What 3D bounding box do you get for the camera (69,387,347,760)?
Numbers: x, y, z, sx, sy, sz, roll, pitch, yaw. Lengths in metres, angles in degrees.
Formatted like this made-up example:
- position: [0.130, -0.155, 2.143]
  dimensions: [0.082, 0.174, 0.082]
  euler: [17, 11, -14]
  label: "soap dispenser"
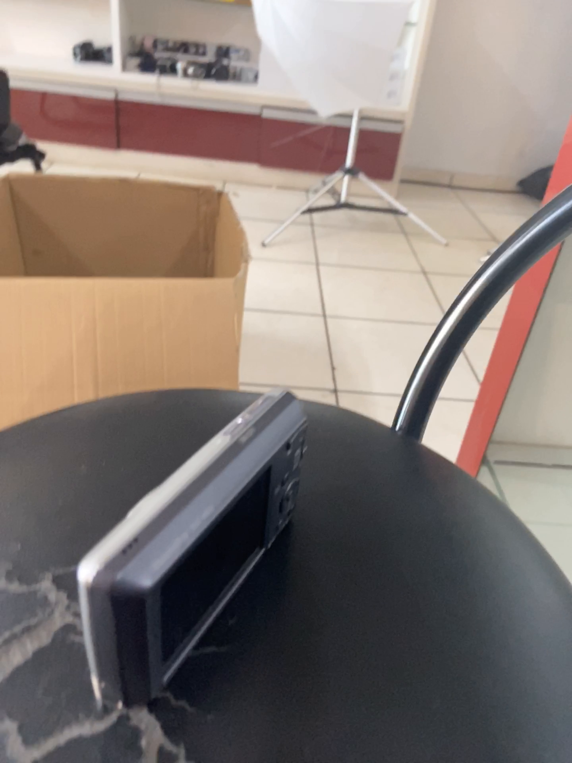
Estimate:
- position: [-0.019, 0.054, 0.194]
  dimensions: [0.030, 0.060, 0.101]
  euler: [22, 36, 21]
  label: "camera"
